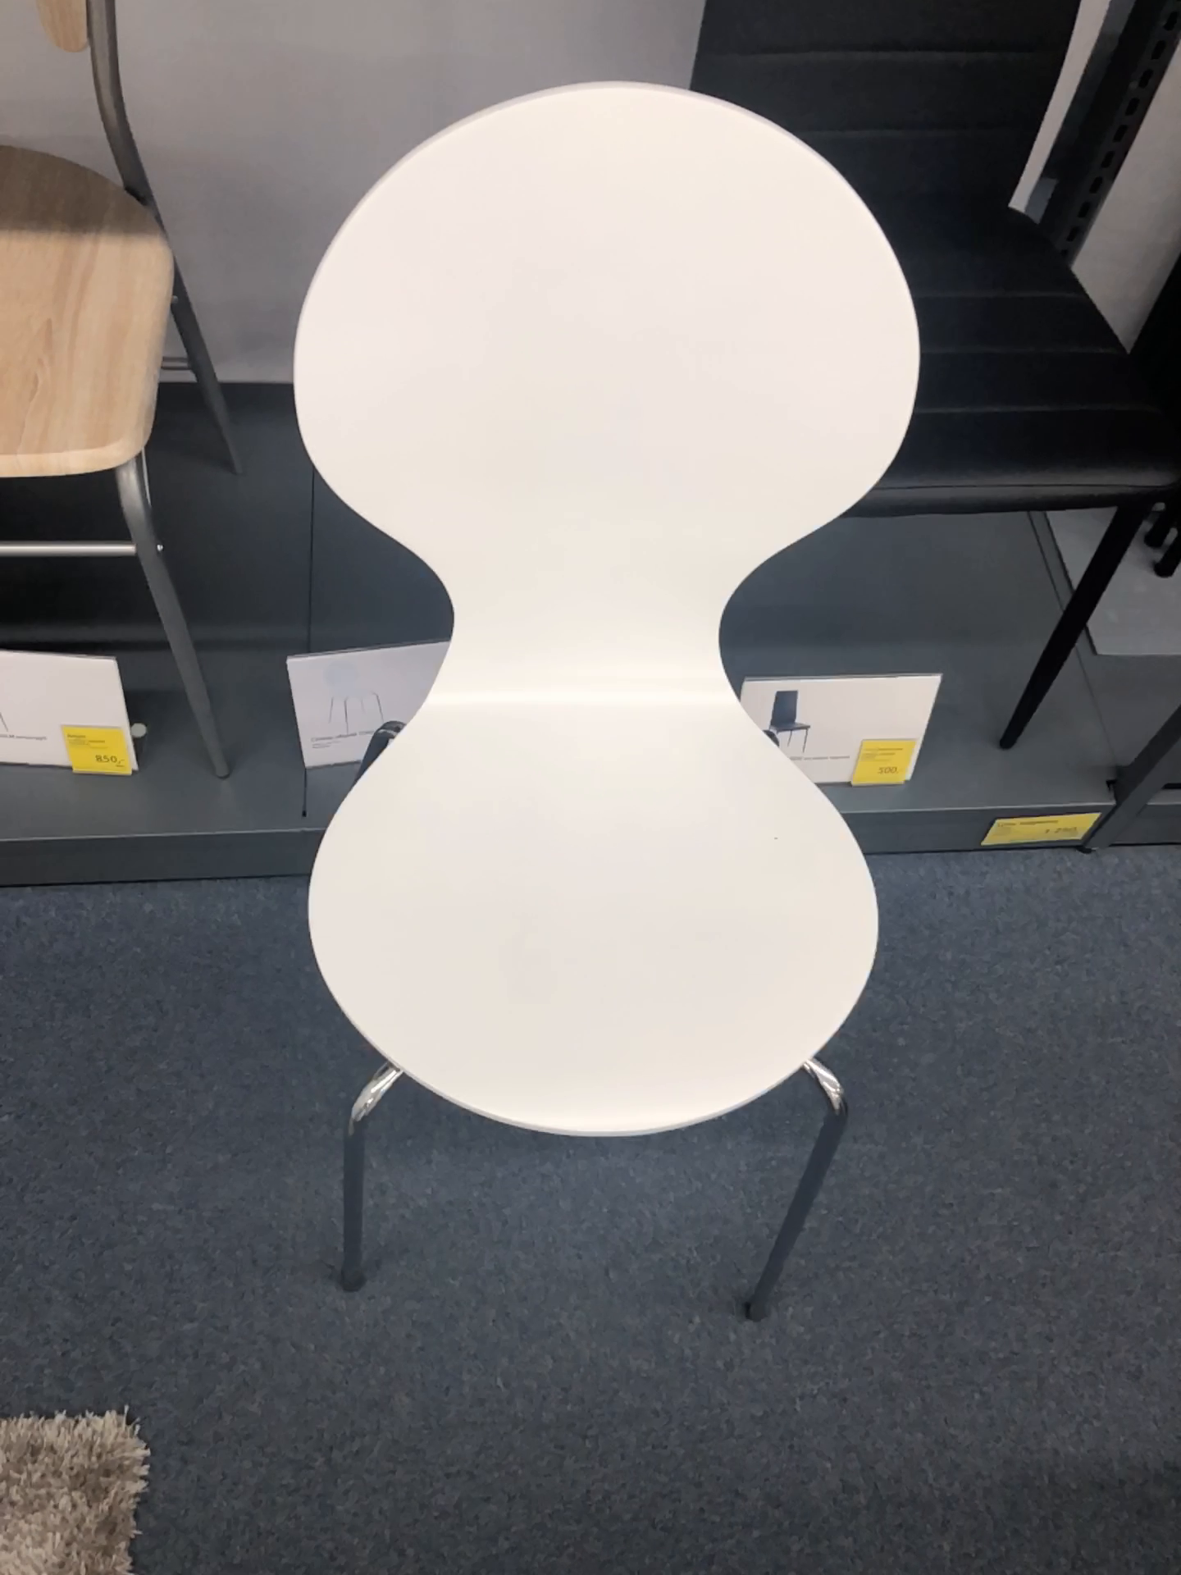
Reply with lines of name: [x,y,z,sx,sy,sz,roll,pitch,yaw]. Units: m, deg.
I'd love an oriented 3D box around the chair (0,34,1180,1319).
chair: [-0.015,0.045,1.003,0.560,0.898,0.541,2,58,-5]
